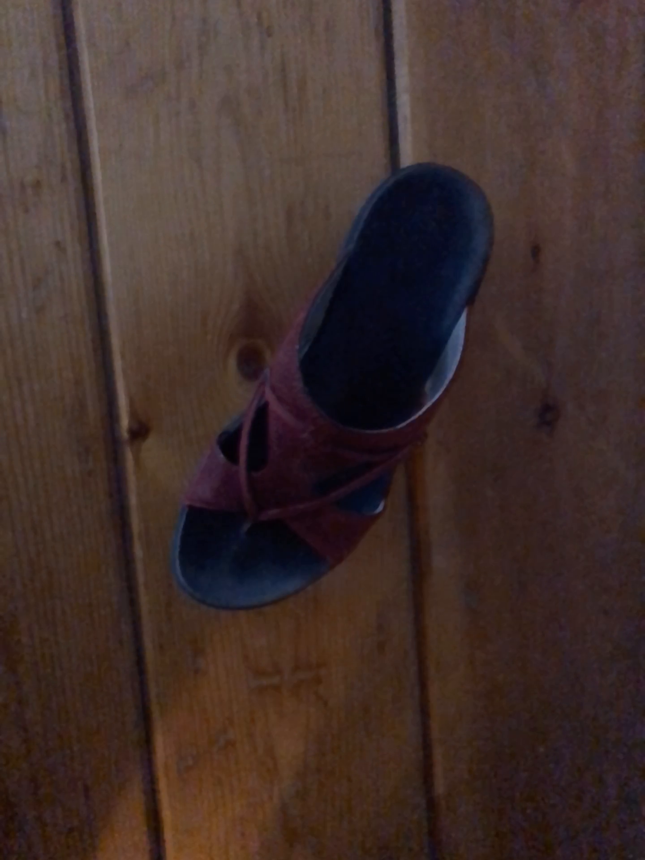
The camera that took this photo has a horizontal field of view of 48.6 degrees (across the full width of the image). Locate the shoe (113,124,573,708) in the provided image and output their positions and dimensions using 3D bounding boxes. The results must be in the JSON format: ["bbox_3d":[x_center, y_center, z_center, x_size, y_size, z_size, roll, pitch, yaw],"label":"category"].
[{"bbox_3d":[0.006,-0.004,0.359,0.100,0.070,0.250,29,95,-7],"label":"shoe"}]
